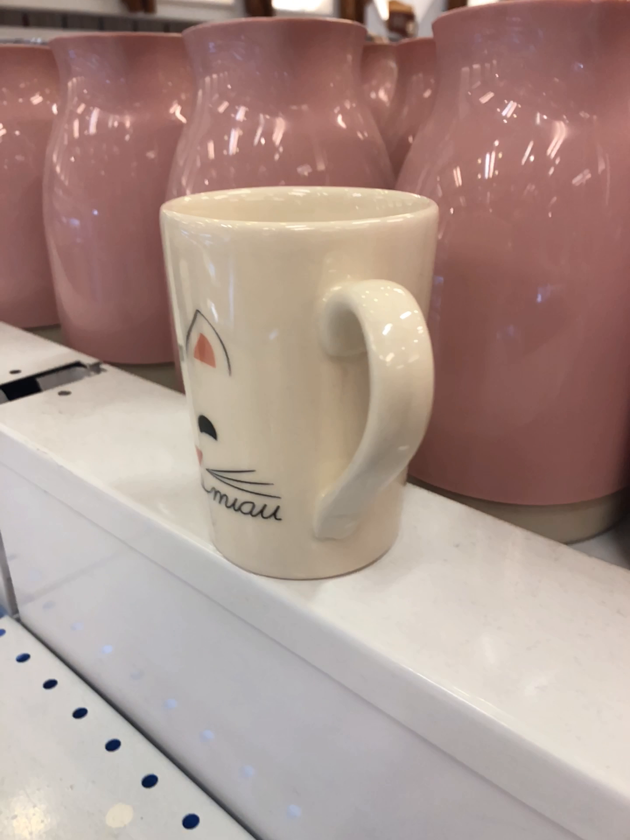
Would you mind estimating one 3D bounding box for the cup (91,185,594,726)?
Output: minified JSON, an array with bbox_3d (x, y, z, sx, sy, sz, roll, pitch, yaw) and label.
[{"bbox_3d":[-0.001,-0.006,0.198,0.080,0.099,0.111,-14,27,-27],"label":"cup"}]
